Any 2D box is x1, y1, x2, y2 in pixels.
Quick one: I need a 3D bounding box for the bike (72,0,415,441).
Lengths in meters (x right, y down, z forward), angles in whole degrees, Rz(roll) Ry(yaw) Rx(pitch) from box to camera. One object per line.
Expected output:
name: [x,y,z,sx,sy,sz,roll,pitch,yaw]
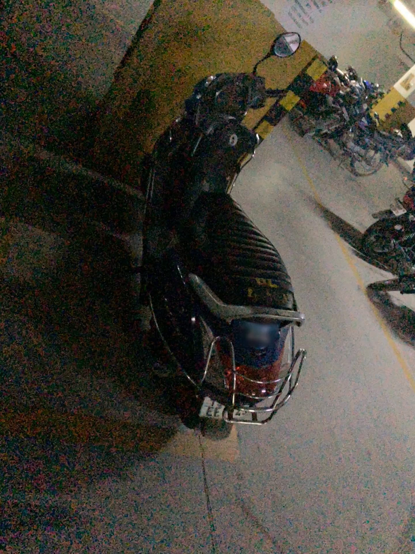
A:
bike: [0.027,-0.248,1.662,0.633,1.062,1.272,13,50,-40]
